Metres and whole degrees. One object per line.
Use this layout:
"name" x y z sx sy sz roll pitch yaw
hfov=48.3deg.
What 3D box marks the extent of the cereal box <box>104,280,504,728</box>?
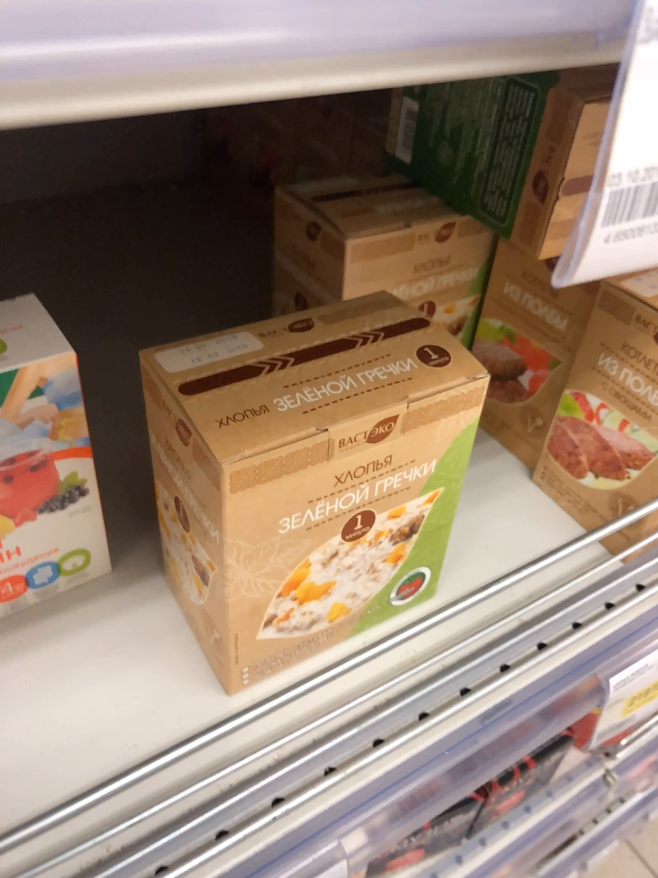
"cereal box" -0.016 0.027 0.338 0.130 0.149 0.090 -19 46 -26
